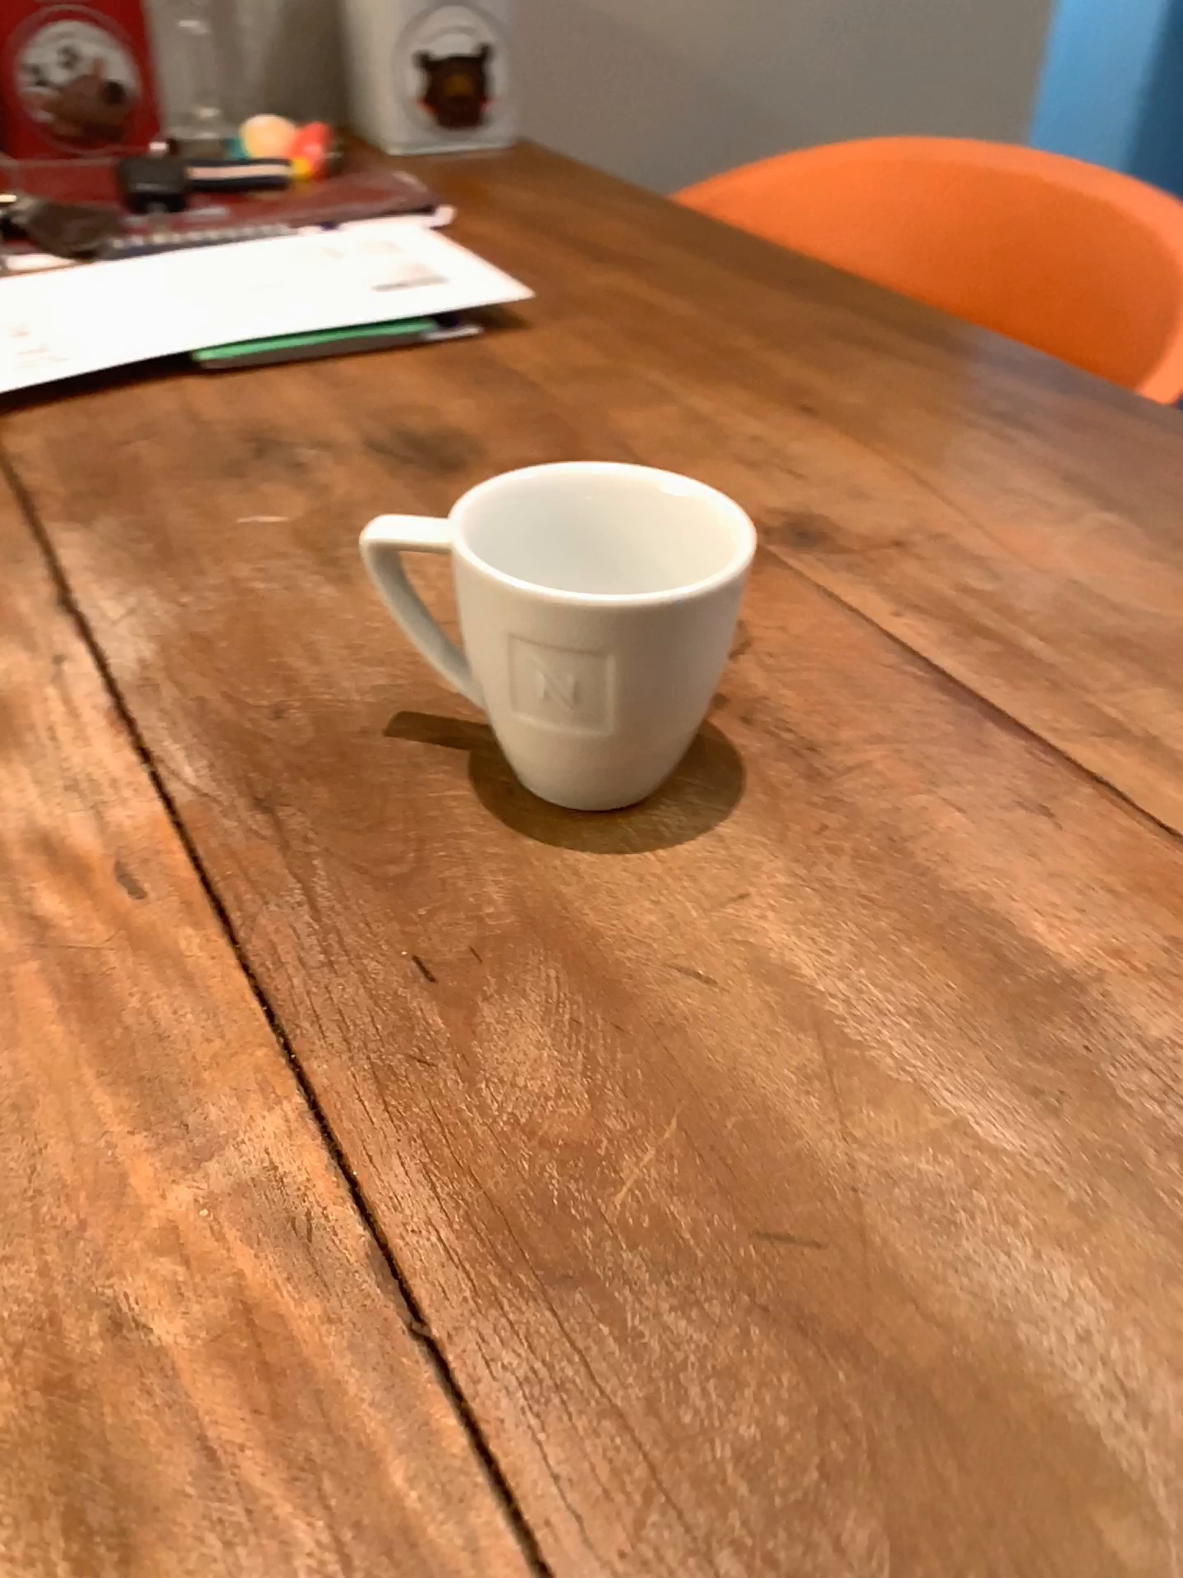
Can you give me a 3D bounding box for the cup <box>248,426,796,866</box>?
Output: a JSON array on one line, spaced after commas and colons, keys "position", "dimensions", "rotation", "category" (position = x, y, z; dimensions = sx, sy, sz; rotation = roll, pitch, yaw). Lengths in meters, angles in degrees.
[{"position": [-0.013, -0.034, 0.257], "dimensions": [0.090, 0.050, 0.060], "rotation": [17, 39, 19], "category": "cup"}]
